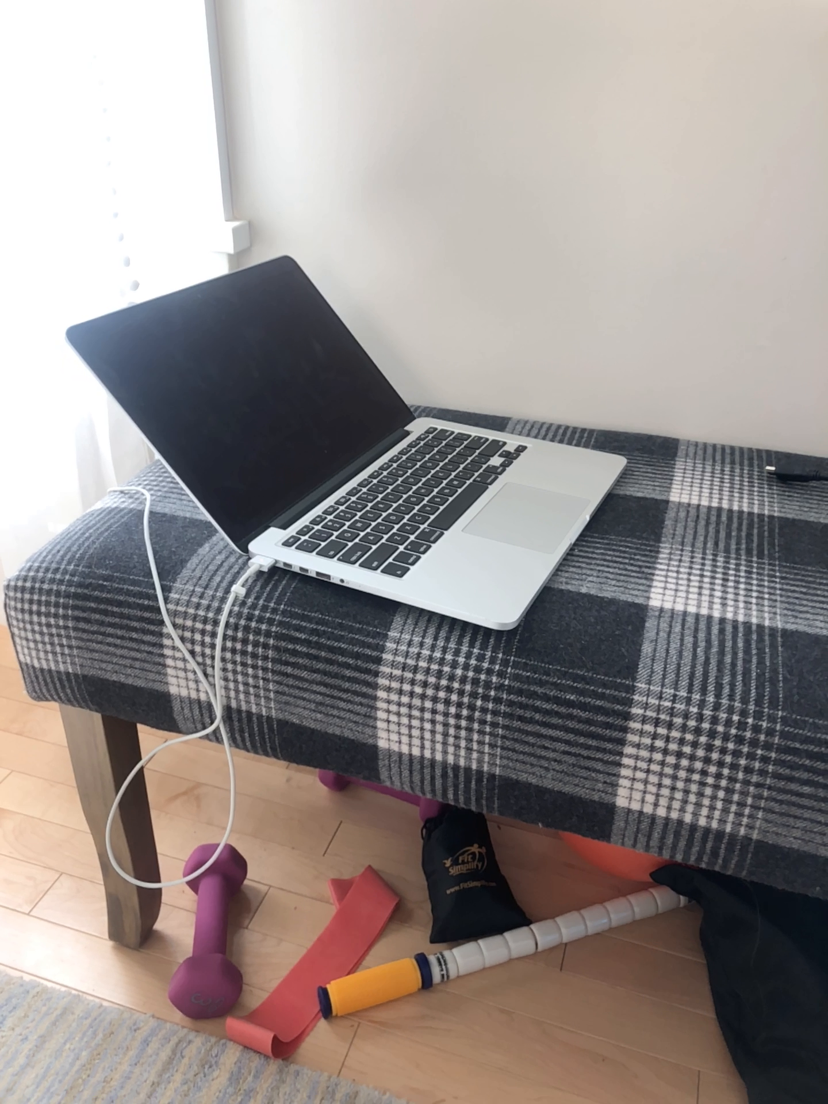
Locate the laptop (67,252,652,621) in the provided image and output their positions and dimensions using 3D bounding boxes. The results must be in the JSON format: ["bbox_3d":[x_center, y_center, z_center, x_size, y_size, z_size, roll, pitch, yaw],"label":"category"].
[{"bbox_3d":[-0.028,-0.128,0.758,0.366,0.142,0.308,14,32,22],"label":"laptop"}]
